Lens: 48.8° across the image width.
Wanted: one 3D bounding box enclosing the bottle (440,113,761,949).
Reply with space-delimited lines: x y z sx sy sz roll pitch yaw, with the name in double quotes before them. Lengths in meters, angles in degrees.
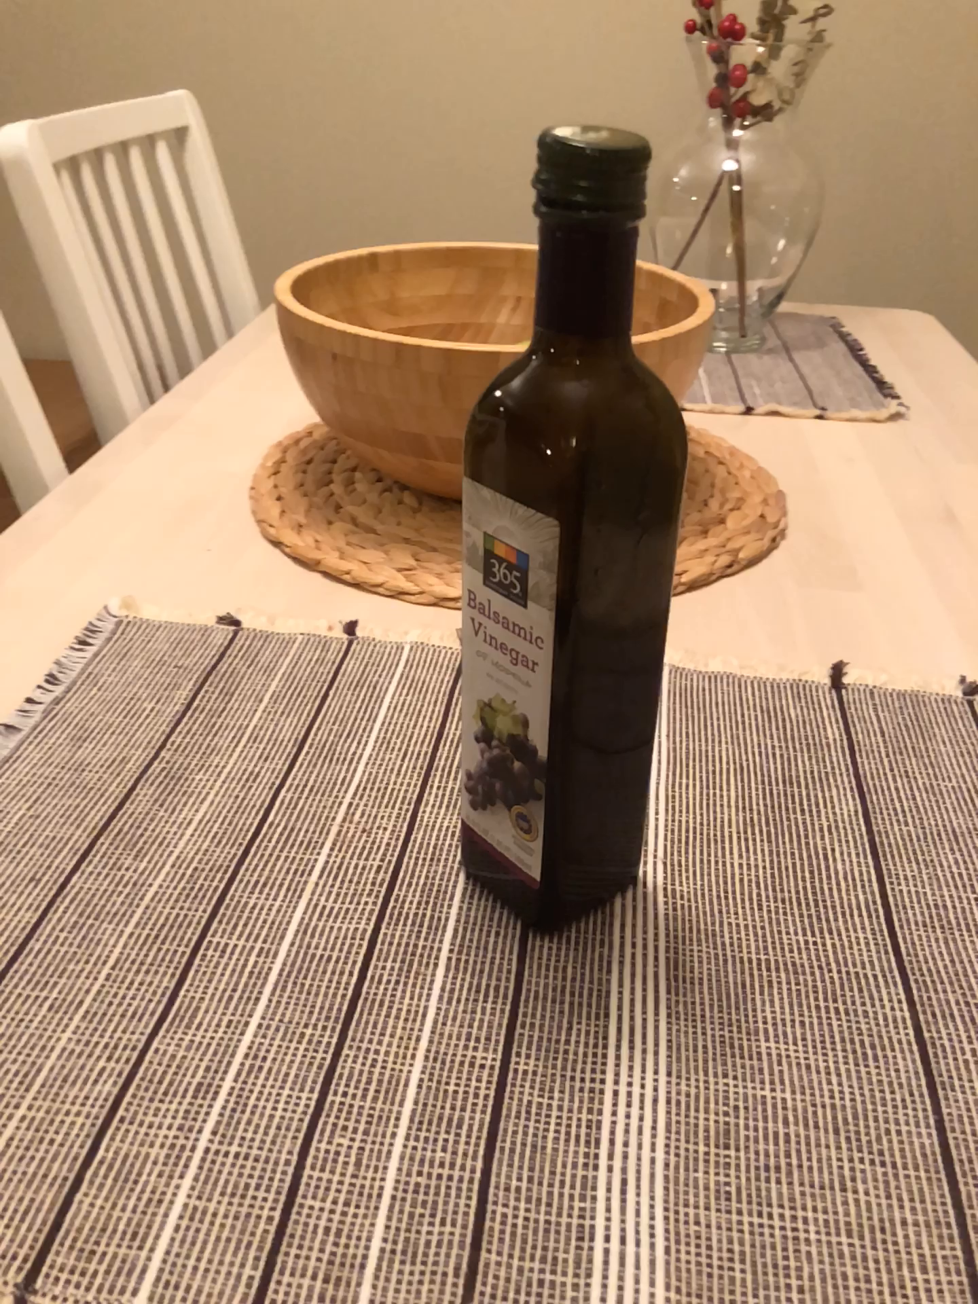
"bottle" 0.027 -0.029 0.355 0.060 0.261 0.060 1 30 -1
